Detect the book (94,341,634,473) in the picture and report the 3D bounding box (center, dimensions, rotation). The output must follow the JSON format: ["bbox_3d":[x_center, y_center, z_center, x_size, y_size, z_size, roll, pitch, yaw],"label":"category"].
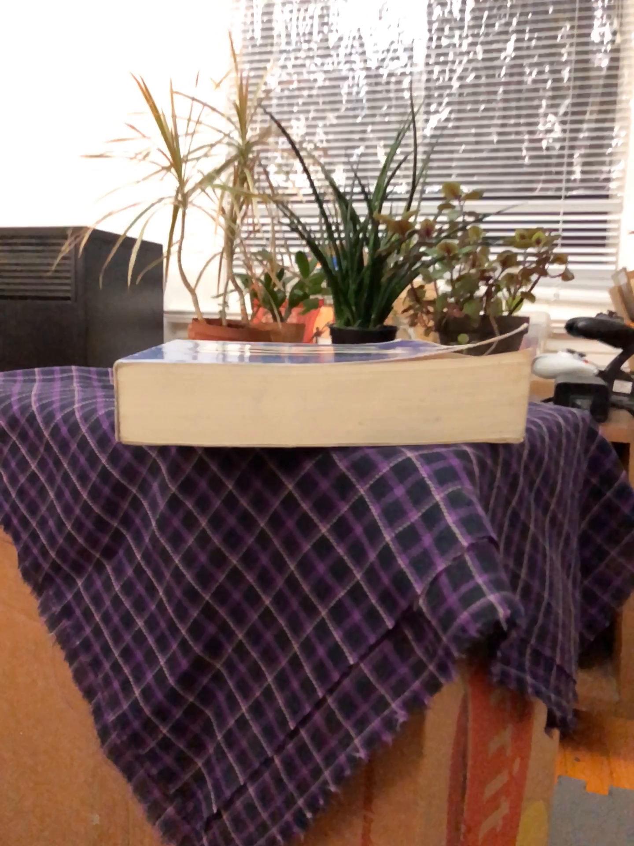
[{"bbox_3d":[0.007,-0.019,0.382,0.200,0.040,0.260,1,7,-7],"label":"book"}]
